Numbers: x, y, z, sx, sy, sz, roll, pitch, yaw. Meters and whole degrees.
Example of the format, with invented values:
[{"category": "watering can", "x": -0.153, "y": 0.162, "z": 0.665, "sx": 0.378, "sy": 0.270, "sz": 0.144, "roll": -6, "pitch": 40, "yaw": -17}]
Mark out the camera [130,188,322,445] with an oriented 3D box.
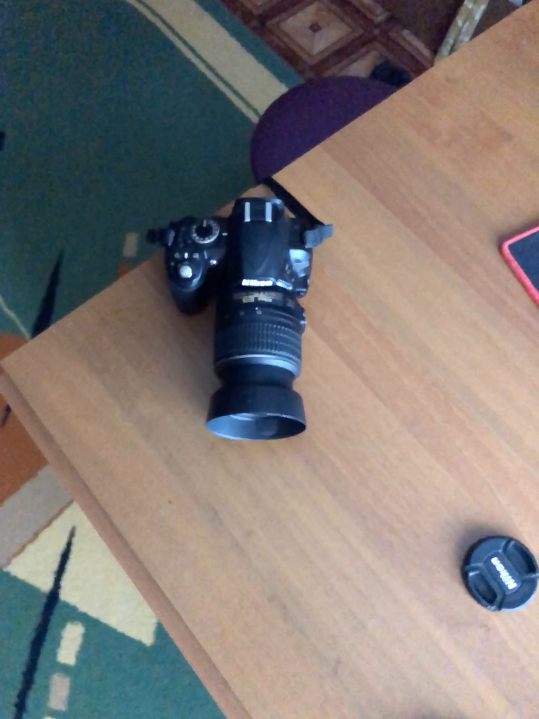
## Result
[{"category": "camera", "x": -0.027, "y": -0.033, "z": 0.495, "sx": 0.129, "sy": 0.092, "sz": 0.183, "roll": 3, "pitch": 69, "yaw": 2}]
